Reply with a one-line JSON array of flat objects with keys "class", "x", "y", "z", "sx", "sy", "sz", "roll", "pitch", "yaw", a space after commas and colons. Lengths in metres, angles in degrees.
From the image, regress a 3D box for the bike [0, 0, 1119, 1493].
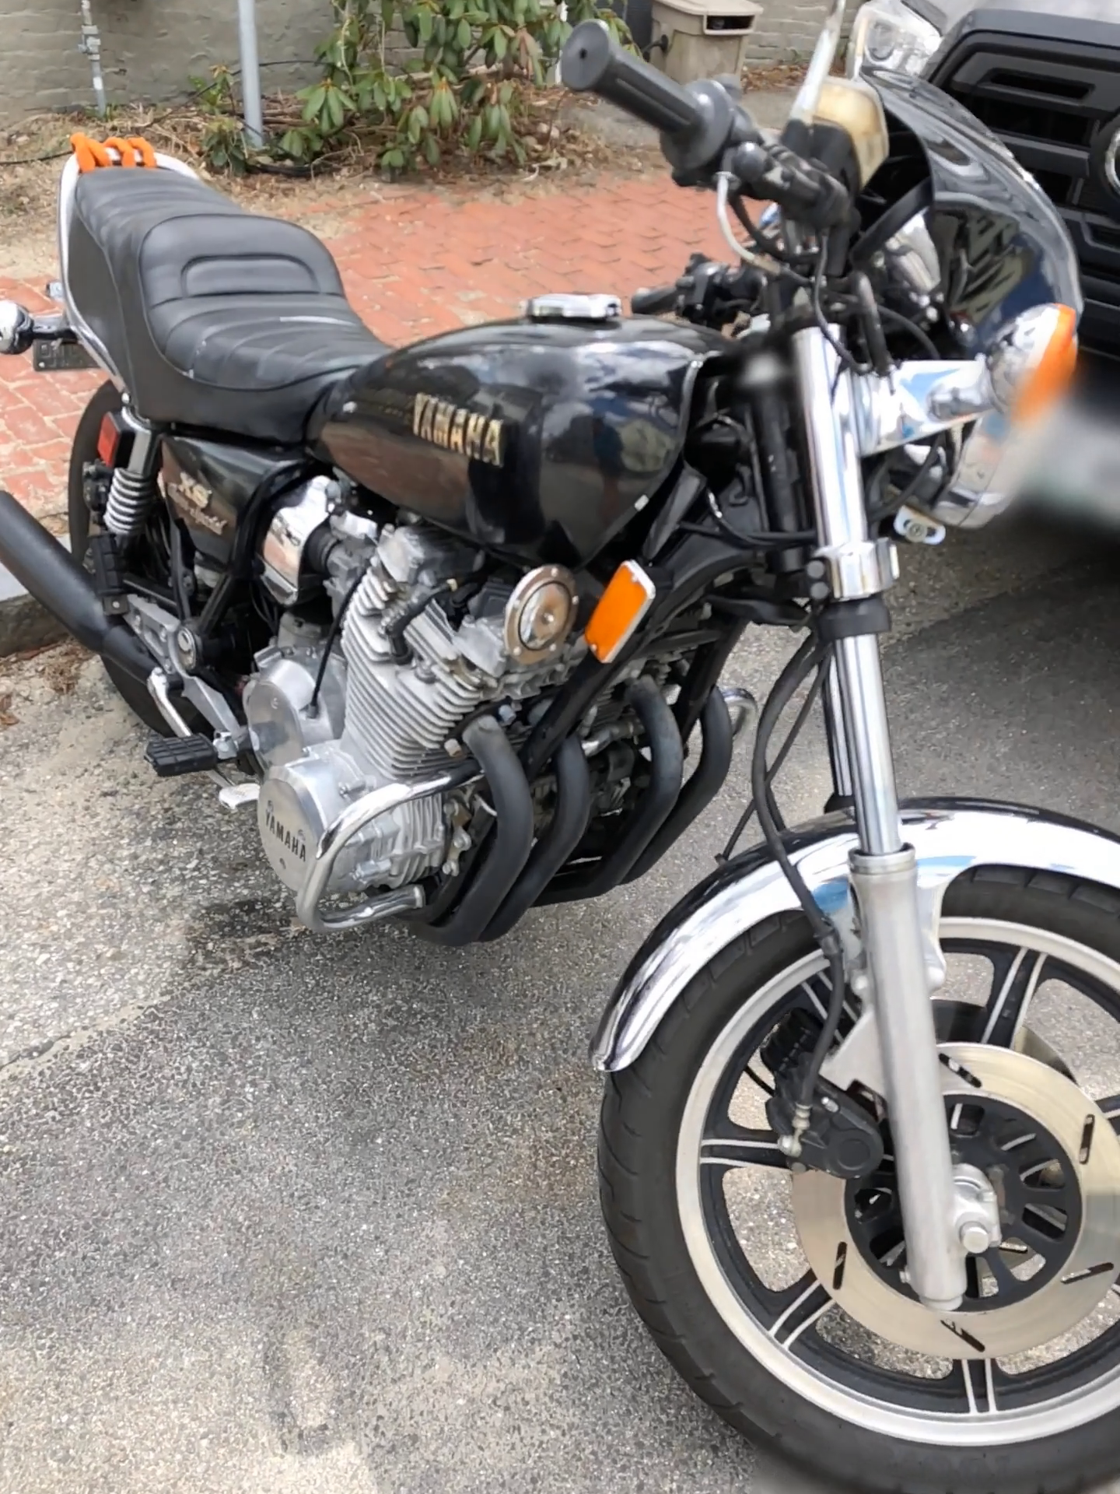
[{"class": "bike", "x": -0.004, "y": -0.193, "z": 1.447, "sx": 1.971, "sy": 1.157, "sz": 0.712, "roll": 33, "pitch": 44, "yaw": 31}]
